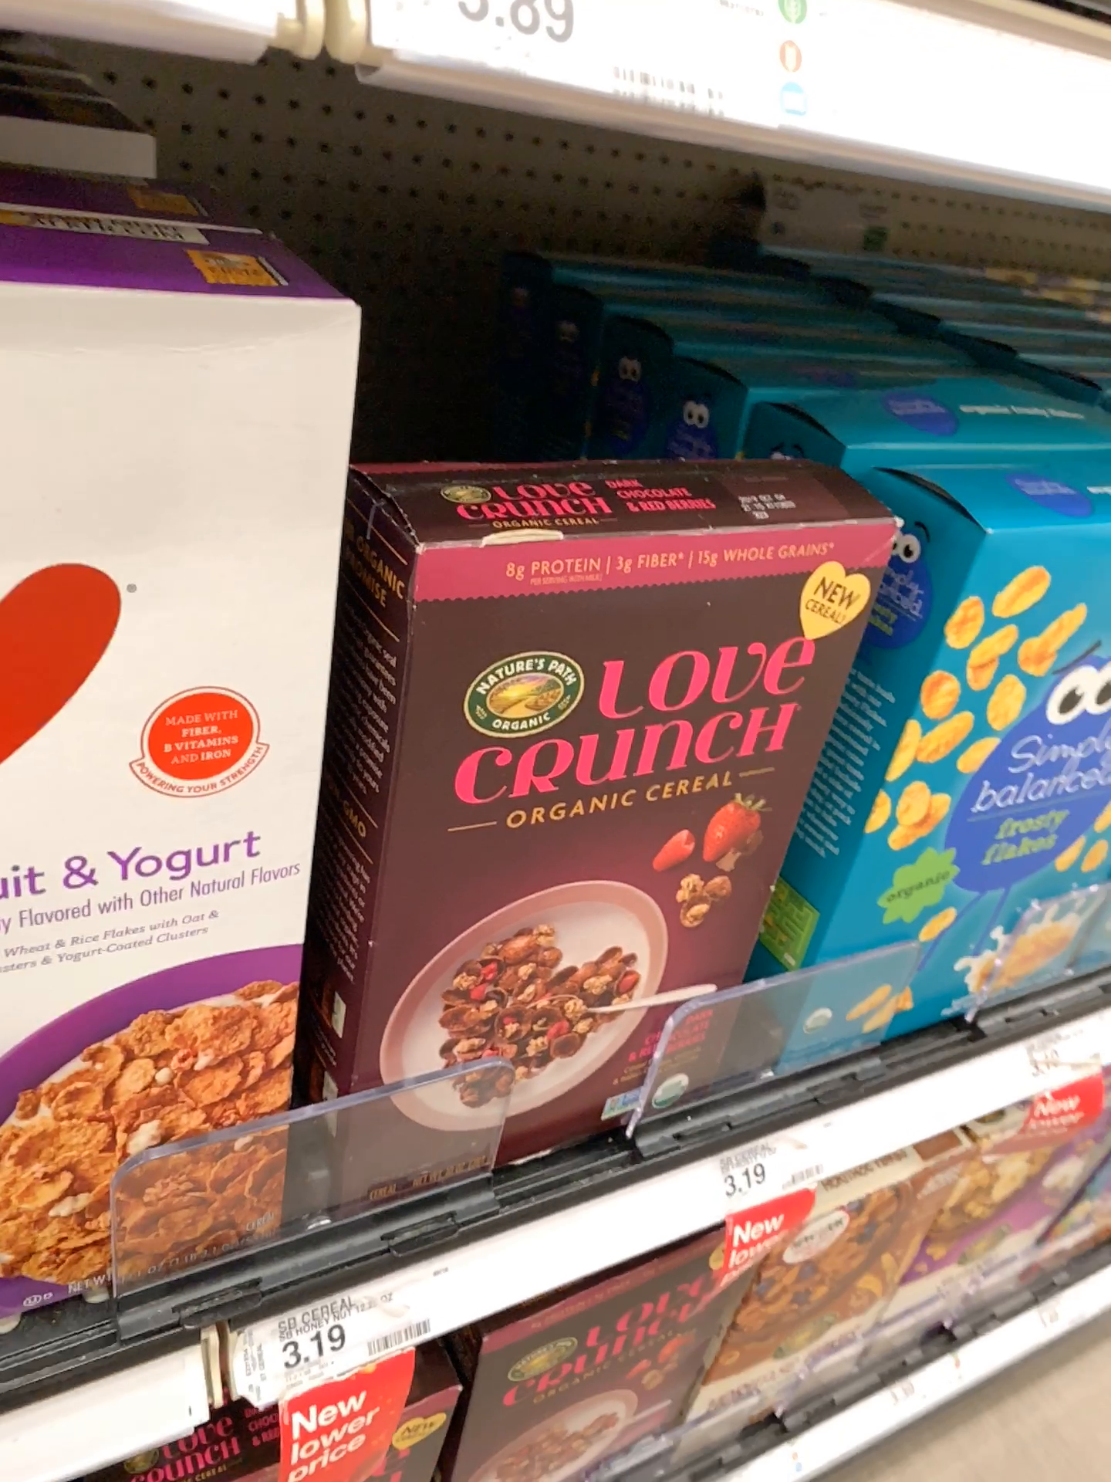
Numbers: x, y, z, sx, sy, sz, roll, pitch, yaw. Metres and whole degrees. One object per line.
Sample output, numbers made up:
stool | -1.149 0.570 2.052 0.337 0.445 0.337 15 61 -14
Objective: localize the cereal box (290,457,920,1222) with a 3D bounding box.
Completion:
cereal box | 0.005 0.035 0.383 0.160 0.249 0.050 -8 37 -29
